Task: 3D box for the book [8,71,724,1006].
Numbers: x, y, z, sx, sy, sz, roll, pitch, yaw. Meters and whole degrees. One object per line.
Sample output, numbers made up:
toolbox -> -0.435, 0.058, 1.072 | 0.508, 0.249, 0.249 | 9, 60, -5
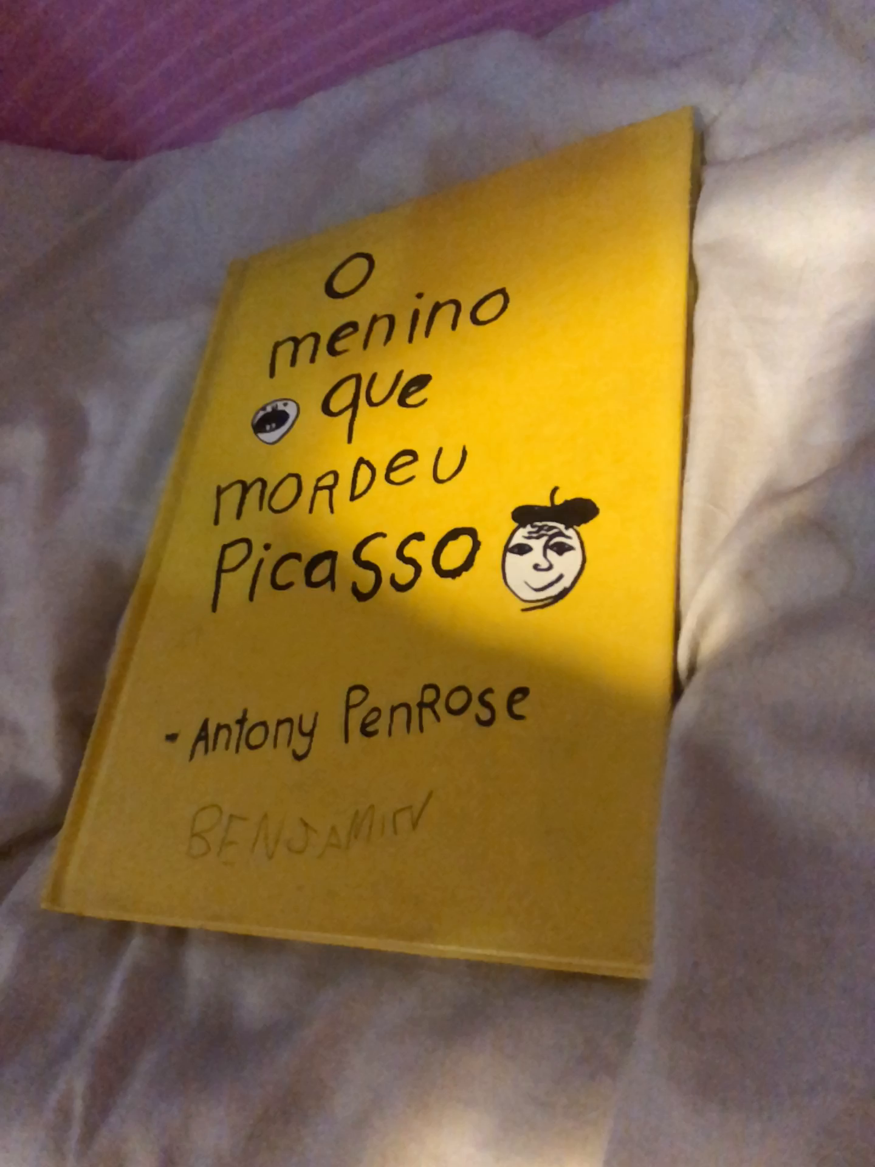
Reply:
book -> -0.015, -0.022, 0.276 | 0.181, 0.024, 0.240 | -6, 62, 30
